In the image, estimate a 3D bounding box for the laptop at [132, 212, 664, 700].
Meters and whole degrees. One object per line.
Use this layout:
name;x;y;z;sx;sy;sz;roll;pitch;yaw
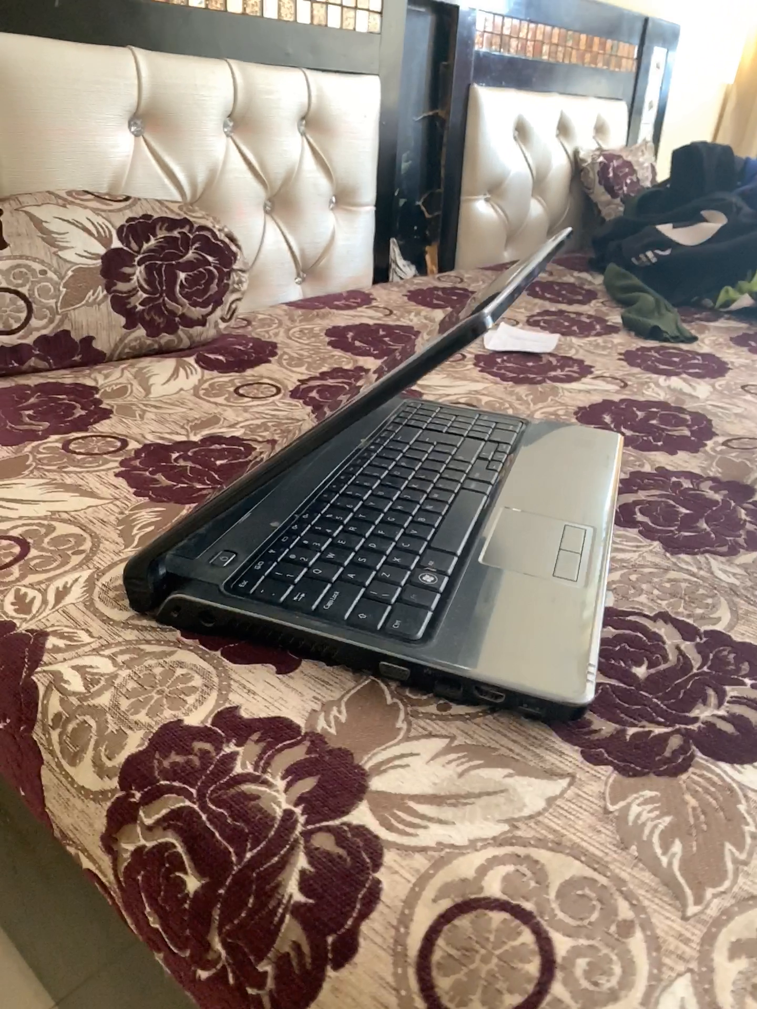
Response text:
laptop;0.051;-0.077;0.501;0.220;0.154;0.366;12;28;14
